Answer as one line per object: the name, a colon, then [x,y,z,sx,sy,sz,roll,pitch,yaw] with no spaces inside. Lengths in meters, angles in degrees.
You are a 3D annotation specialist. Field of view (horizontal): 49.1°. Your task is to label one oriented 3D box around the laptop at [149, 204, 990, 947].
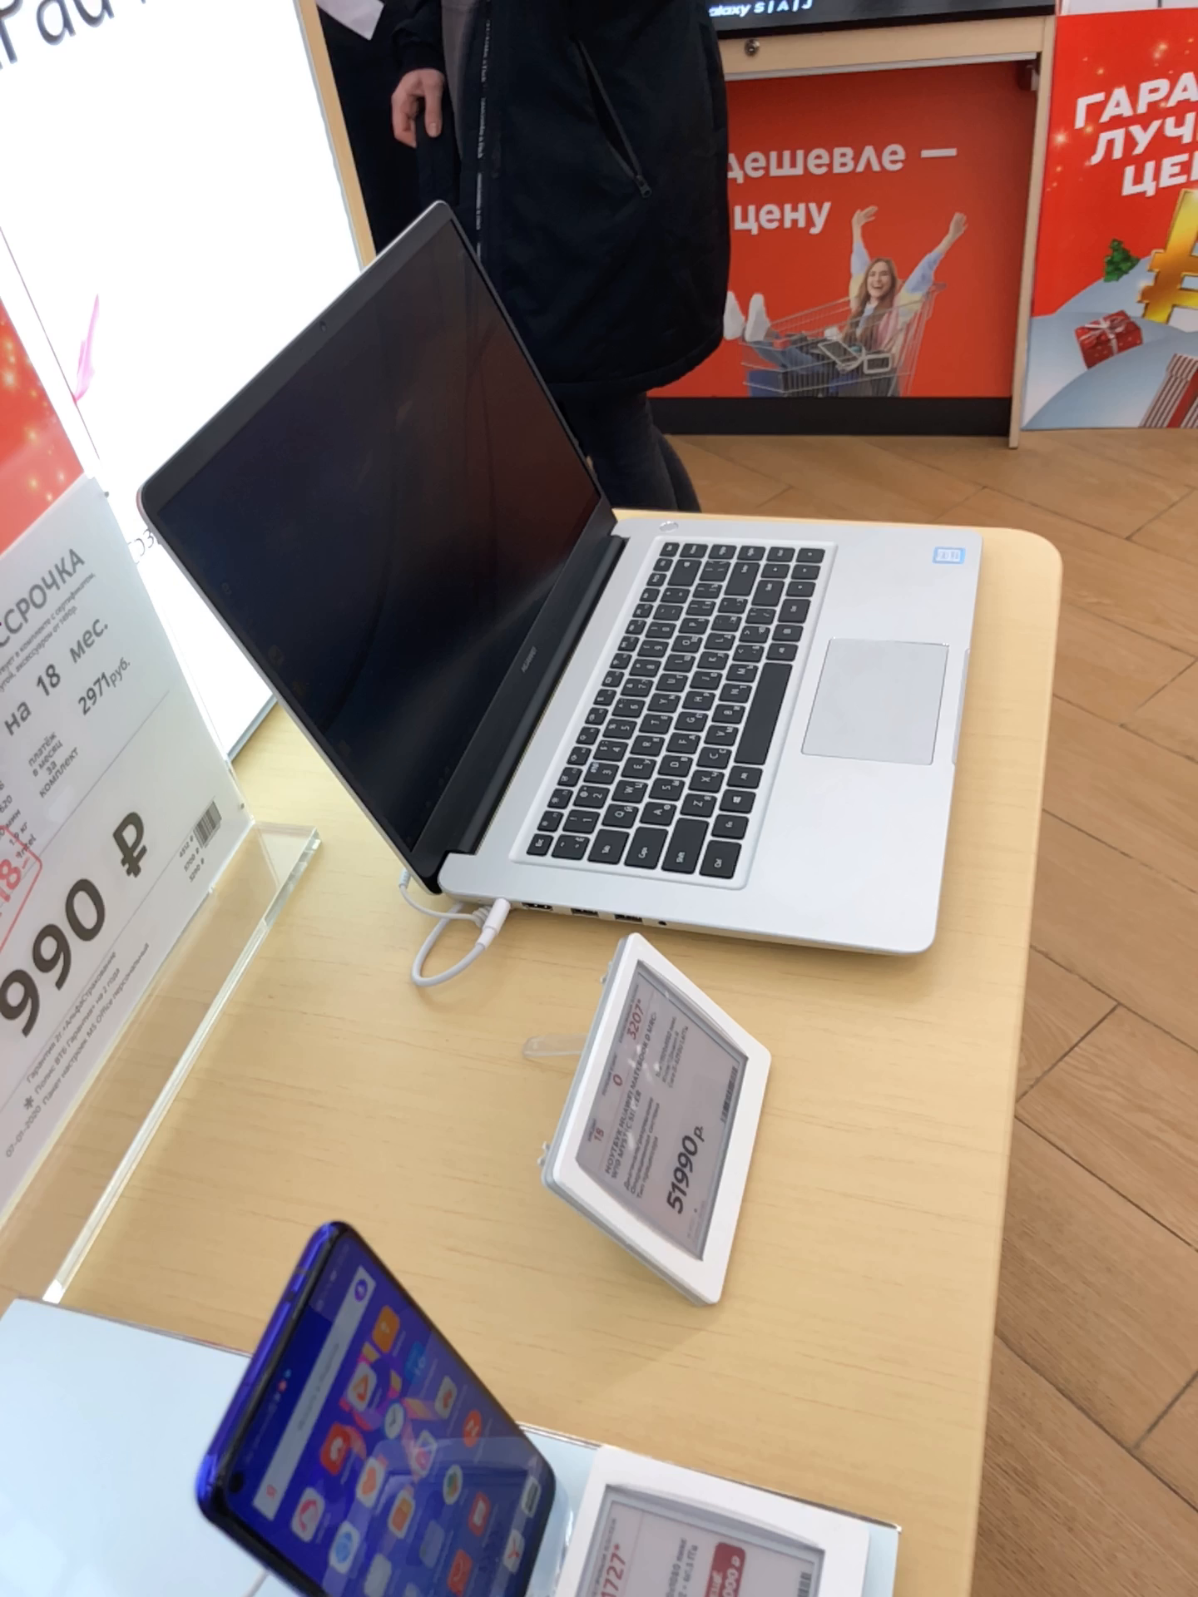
laptop: [0.026,-0.135,0.663,0.305,0.204,0.342,5,42,16]
